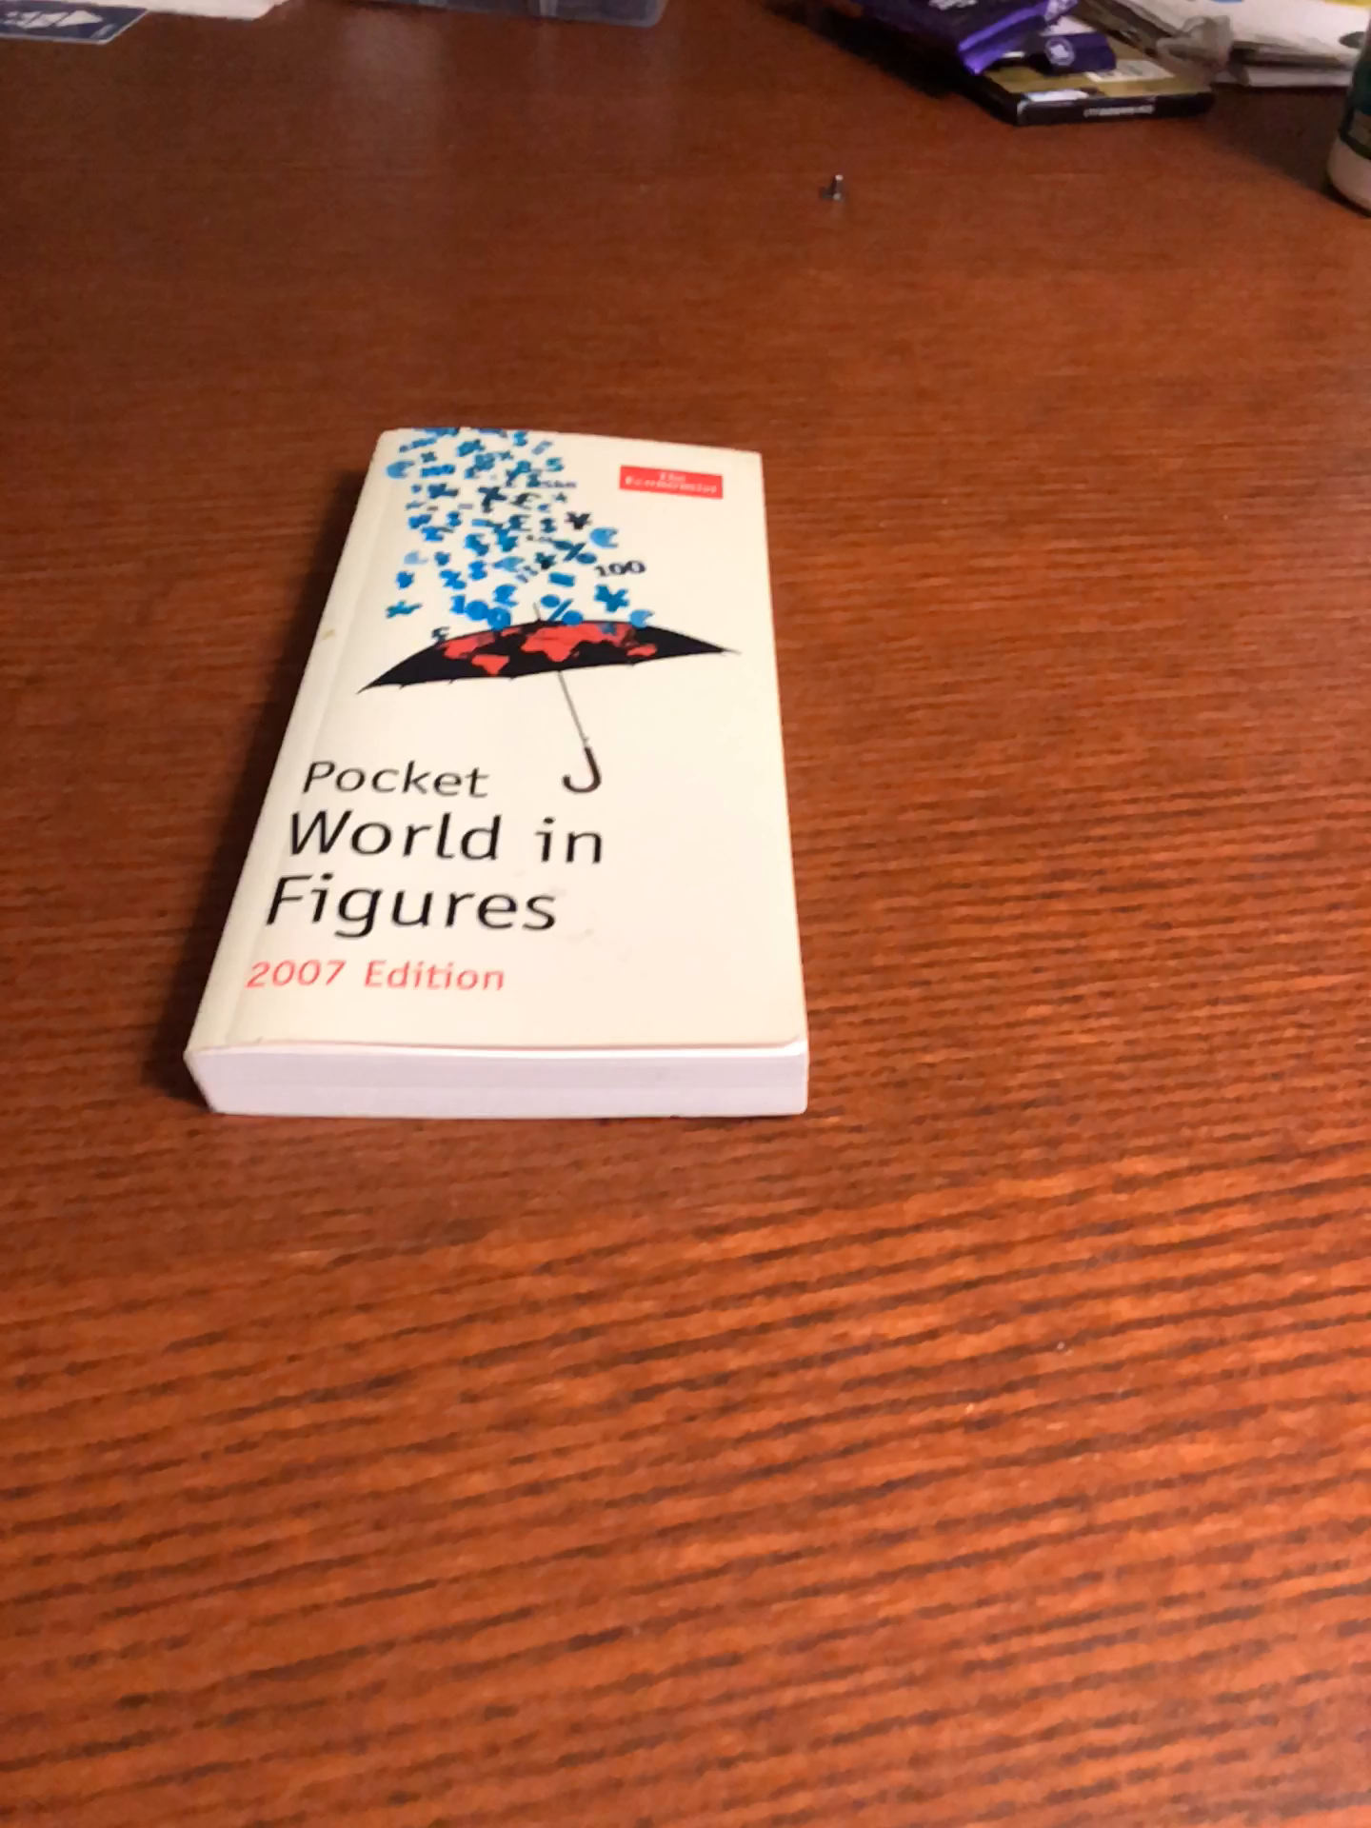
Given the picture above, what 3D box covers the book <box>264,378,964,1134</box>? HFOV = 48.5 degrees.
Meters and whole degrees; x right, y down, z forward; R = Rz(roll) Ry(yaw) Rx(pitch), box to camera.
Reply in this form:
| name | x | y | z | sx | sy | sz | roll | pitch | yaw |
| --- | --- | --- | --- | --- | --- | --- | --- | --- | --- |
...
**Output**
| name | x | y | z | sx | sy | sz | roll | pitch | yaw |
| --- | --- | --- | --- | --- | --- | --- | --- | --- | --- |
| book | -0.011 | -0.047 | 0.301 | 0.100 | 0.030 | 0.201 | 2 | 43 | -2 |
